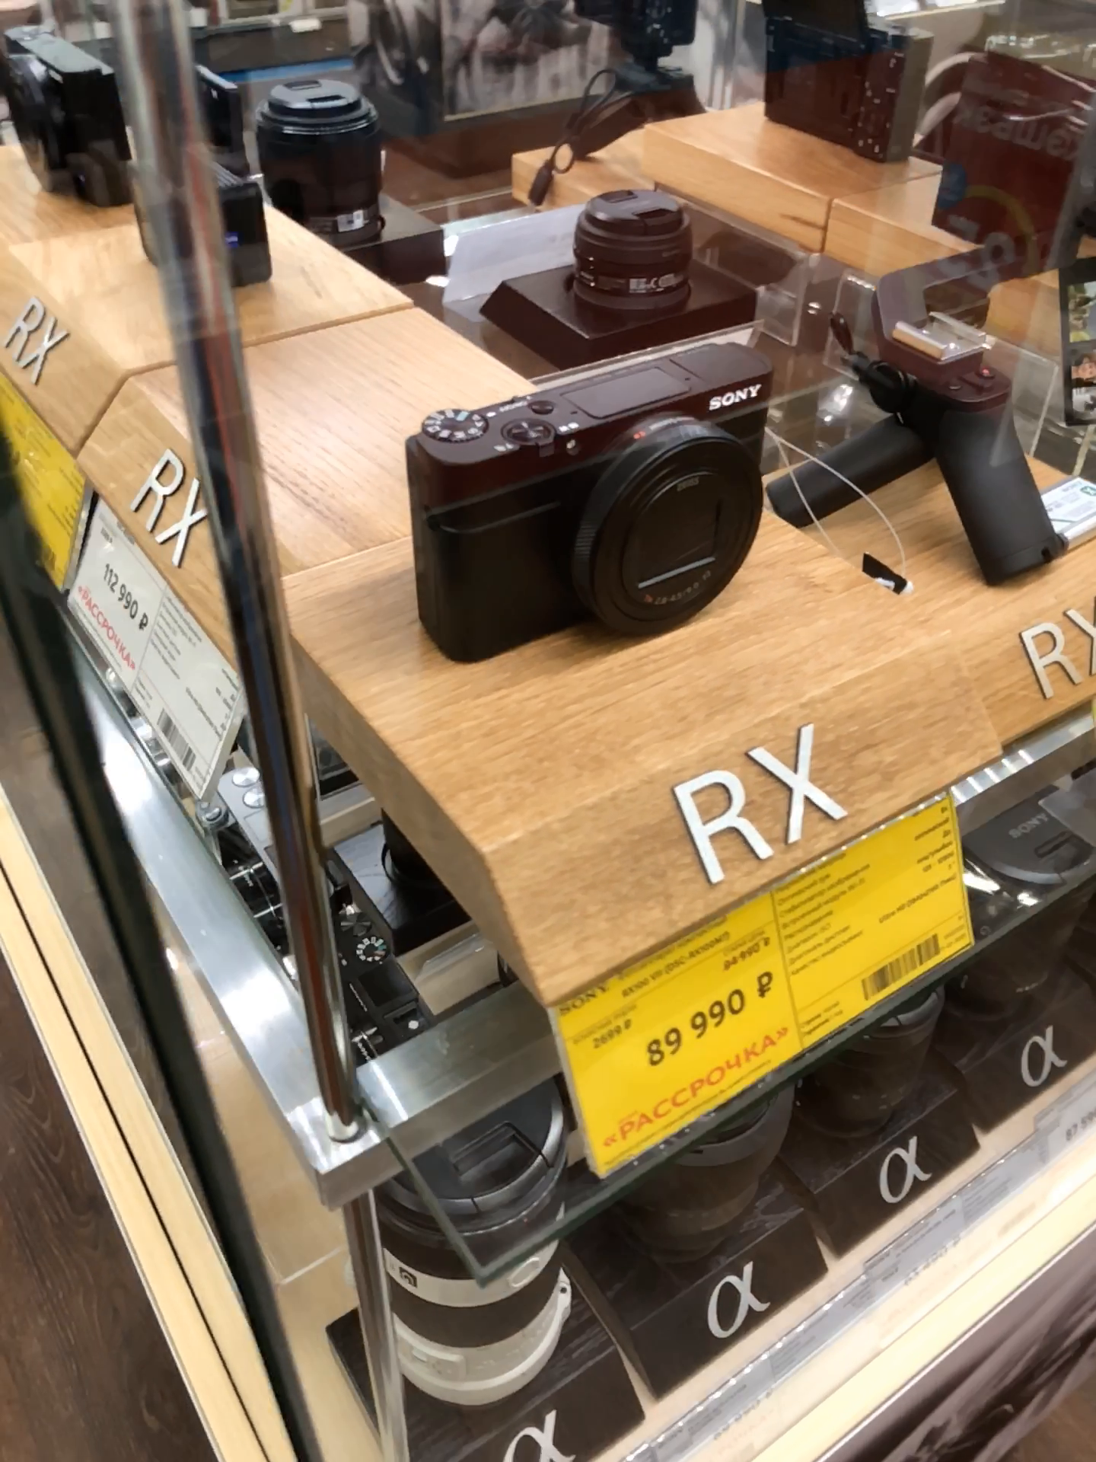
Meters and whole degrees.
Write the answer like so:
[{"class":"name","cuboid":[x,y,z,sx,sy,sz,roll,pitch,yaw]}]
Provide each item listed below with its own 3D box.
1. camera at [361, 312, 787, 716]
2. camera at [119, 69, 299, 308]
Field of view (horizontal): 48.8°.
[{"class":"camera","cuboid":[0.008,-0.059,0.321,0.100,0.070,0.040,-24,46,-25]},{"class":"camera","cuboid":[-0.132,-0.213,0.475,0.040,0.070,0.052,-25,47,-26]}]
